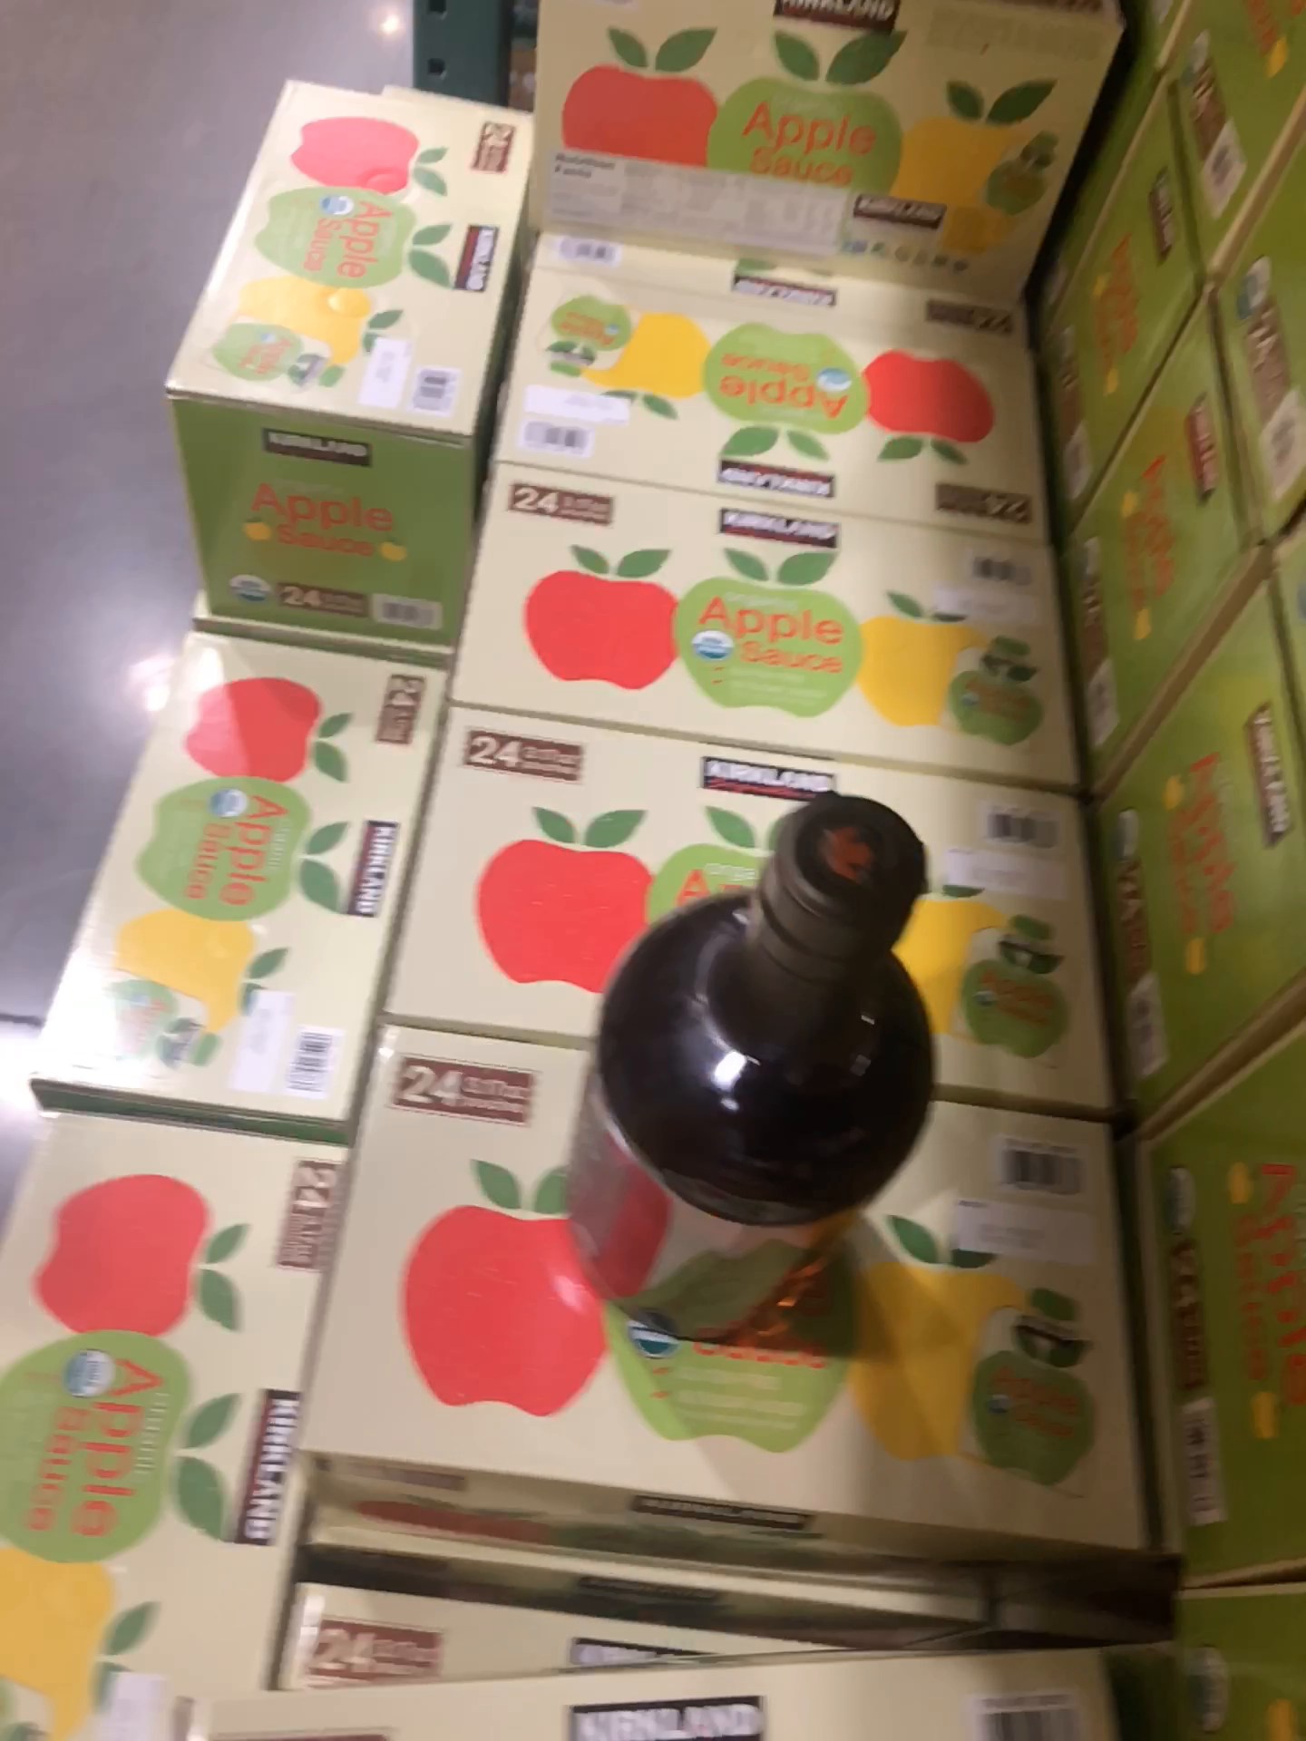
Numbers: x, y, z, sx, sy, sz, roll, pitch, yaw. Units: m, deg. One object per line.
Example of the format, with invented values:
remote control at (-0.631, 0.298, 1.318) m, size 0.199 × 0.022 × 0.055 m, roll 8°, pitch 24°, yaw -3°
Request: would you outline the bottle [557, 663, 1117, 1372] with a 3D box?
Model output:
bottle at (0.030, 0.057, 0.388) m, size 0.090 × 0.219 × 0.100 m, roll 5°, pitch 59°, yaw -6°
